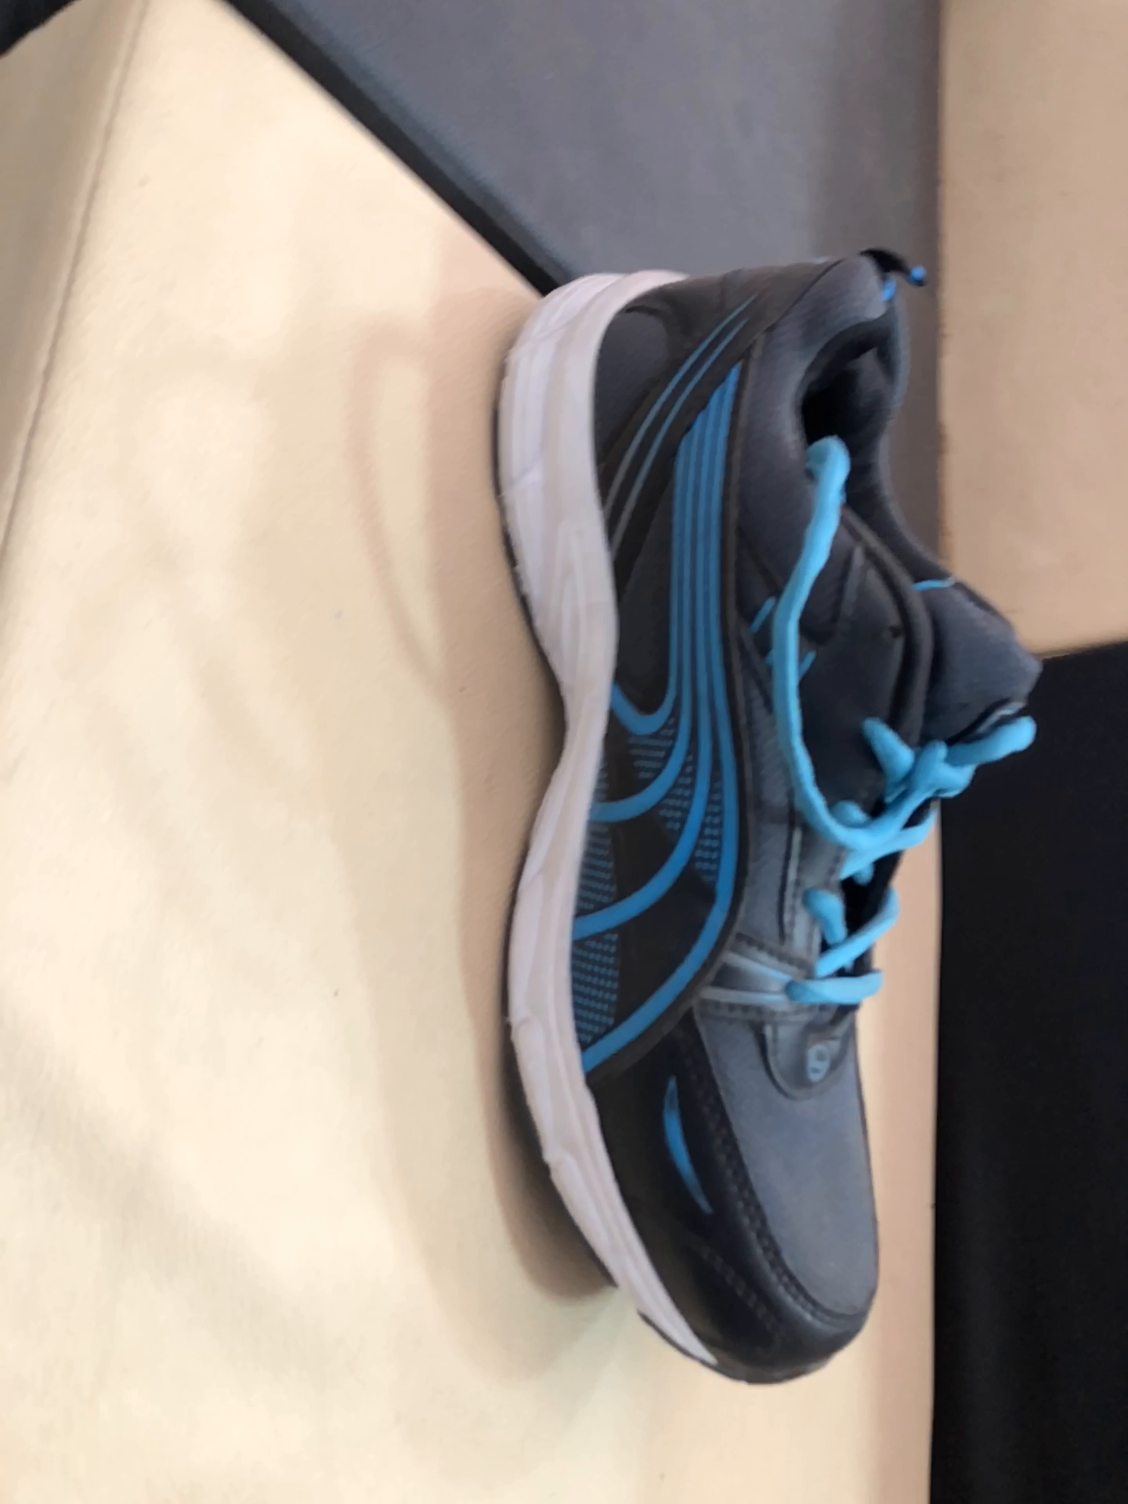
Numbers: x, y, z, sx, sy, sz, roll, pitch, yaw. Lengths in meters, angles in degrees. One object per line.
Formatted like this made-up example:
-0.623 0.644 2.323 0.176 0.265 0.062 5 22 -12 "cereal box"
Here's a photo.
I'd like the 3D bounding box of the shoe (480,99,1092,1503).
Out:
0.054 0.010 0.307 0.101 0.099 0.270 7 79 -54 "shoe"
